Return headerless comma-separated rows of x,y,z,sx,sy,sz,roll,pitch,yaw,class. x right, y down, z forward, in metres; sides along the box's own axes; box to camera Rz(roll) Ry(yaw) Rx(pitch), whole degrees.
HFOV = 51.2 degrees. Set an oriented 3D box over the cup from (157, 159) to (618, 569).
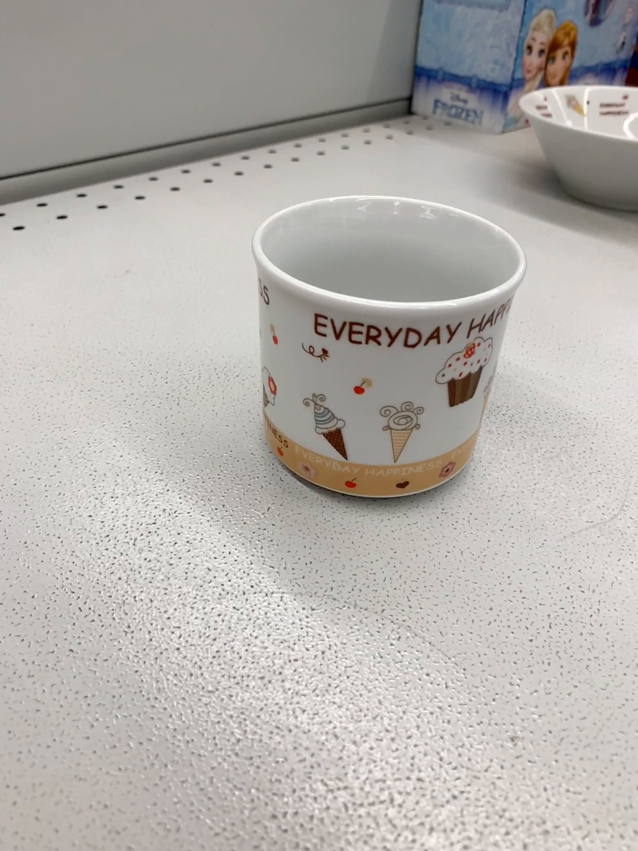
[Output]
0.021,-0.029,0.210,0.109,0.069,0.079,-29,48,-34,cup
